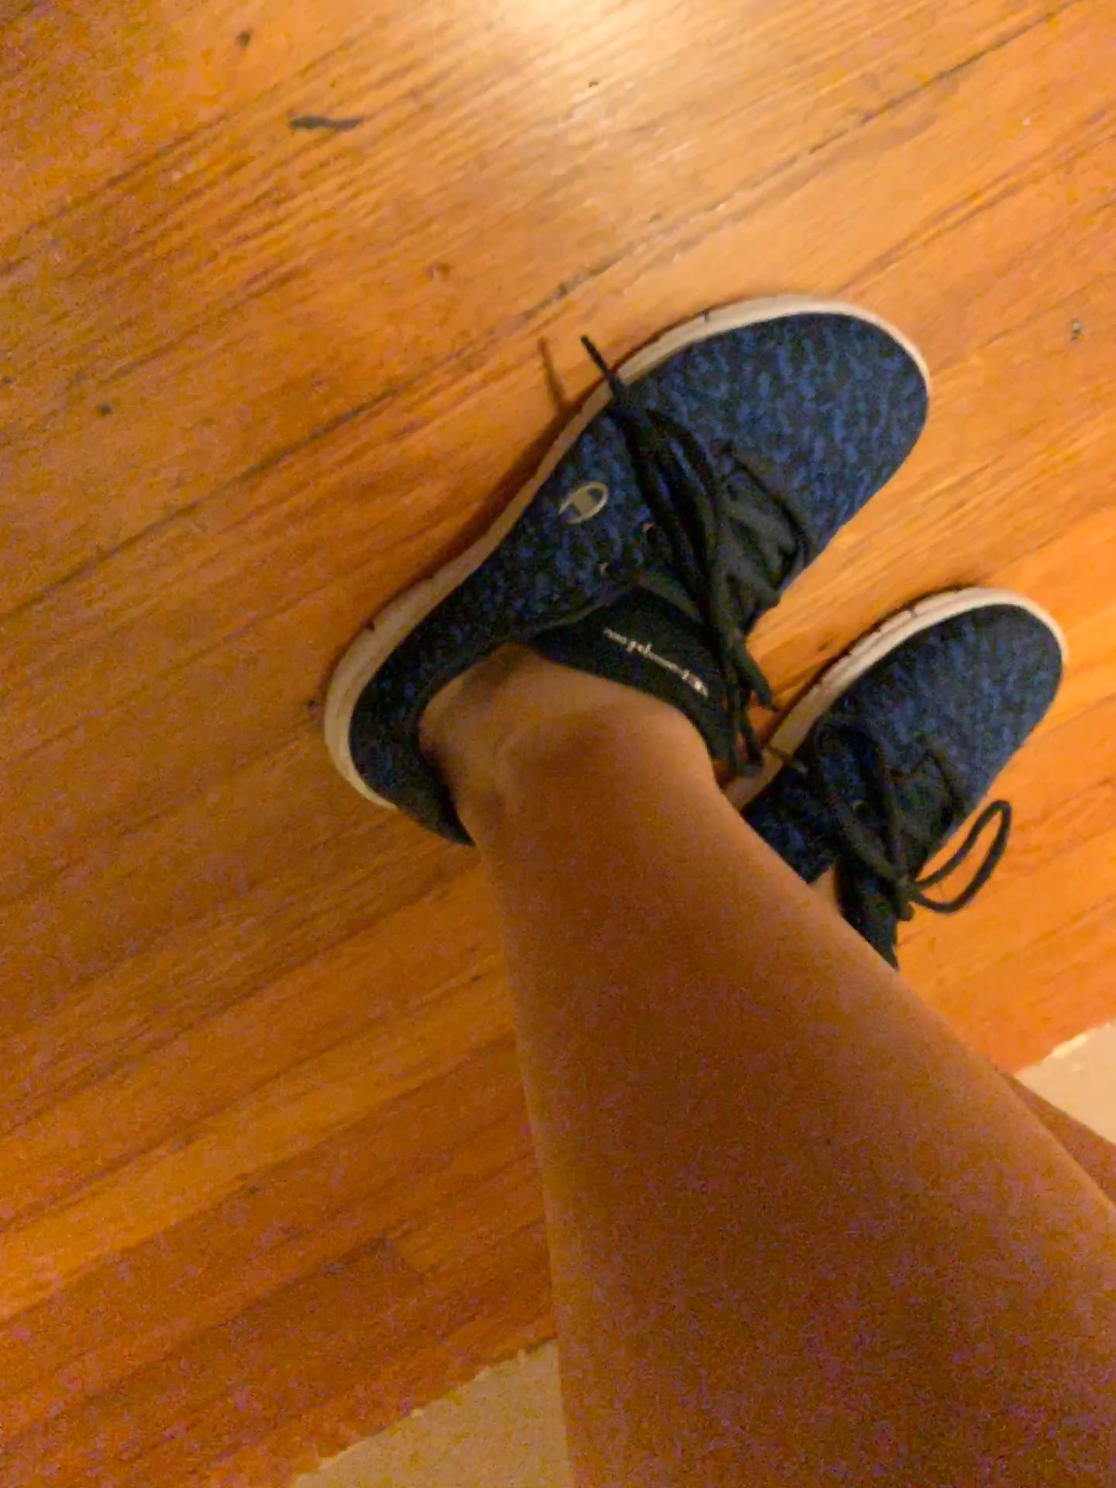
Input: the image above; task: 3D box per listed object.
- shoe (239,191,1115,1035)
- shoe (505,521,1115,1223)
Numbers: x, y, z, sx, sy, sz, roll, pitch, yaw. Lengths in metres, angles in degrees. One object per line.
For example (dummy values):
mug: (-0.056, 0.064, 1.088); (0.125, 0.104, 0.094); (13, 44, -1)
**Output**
shoe: (0.031, -0.056, 0.437); (0.290, 0.149, 0.116); (-39, 121, 6)
shoe: (0.132, 0.055, 0.518); (0.280, 0.129, 0.118); (-41, 121, 7)
